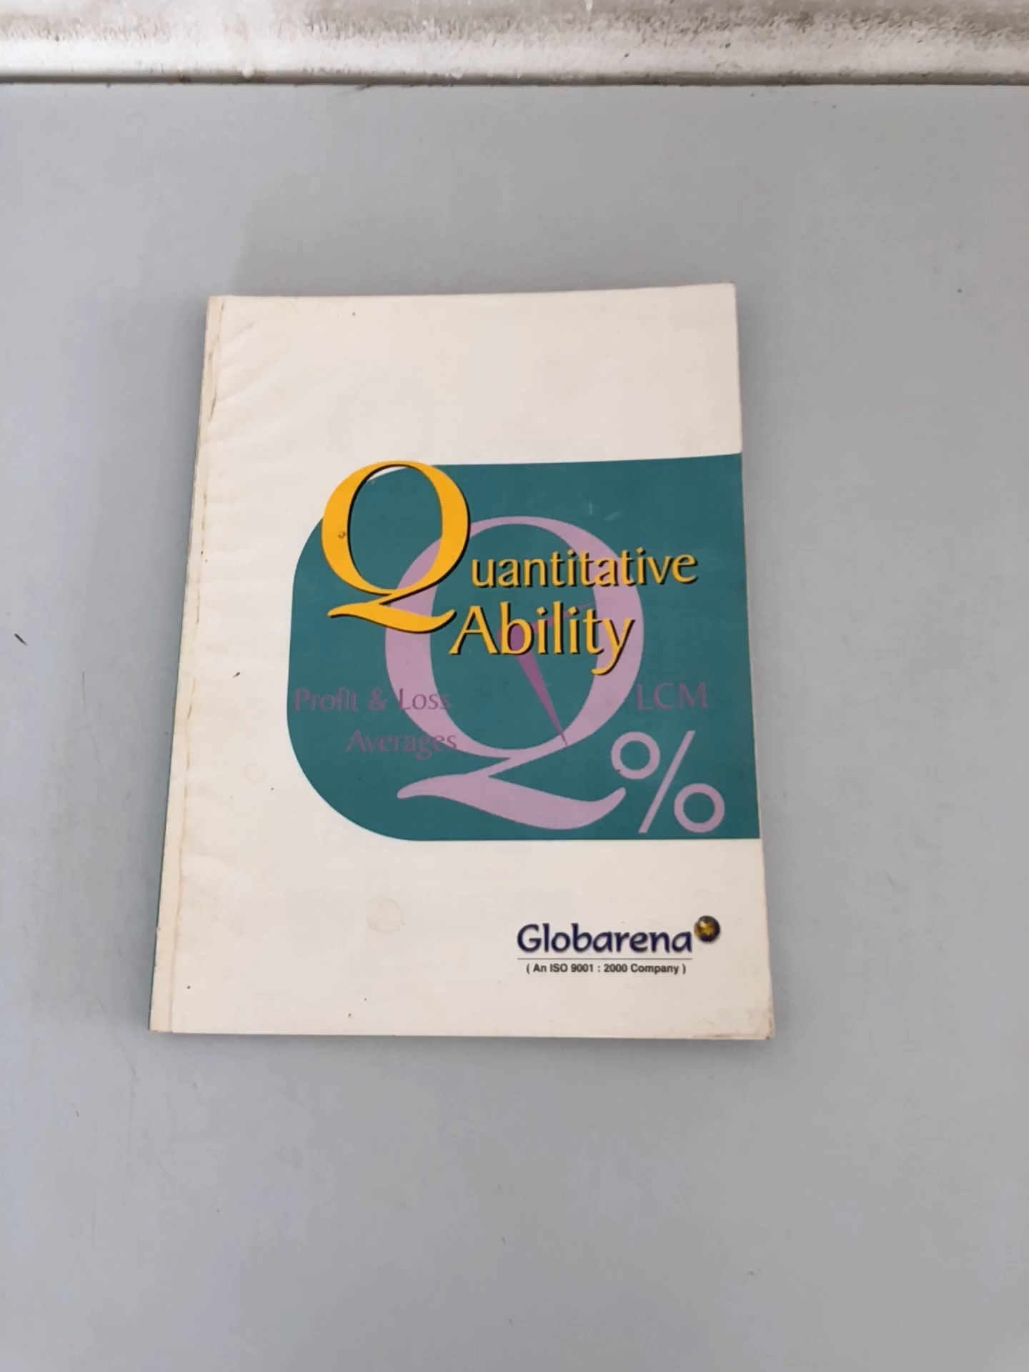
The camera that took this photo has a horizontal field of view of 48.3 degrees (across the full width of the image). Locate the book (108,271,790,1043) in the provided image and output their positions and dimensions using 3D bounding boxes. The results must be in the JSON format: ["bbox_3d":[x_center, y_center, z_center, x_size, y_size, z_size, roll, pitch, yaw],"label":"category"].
[{"bbox_3d":[-0.019,-0.015,0.358,0.190,0.020,0.240,0,76,2],"label":"book"}]
